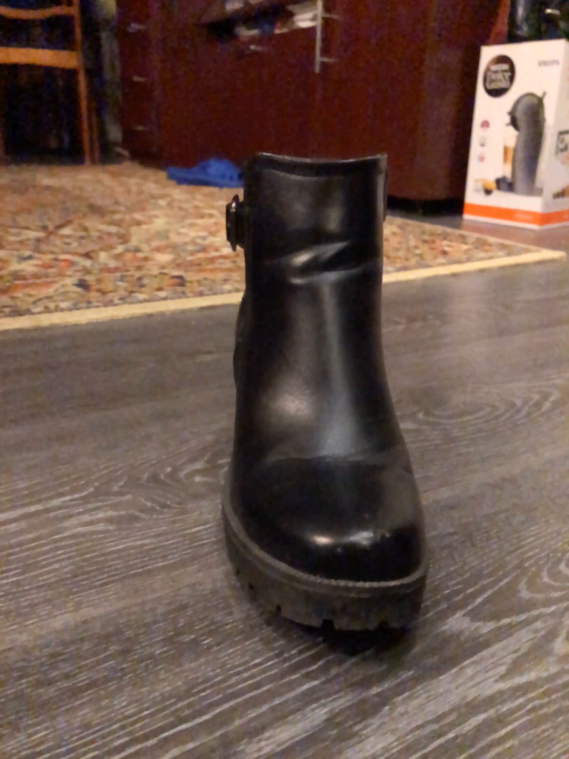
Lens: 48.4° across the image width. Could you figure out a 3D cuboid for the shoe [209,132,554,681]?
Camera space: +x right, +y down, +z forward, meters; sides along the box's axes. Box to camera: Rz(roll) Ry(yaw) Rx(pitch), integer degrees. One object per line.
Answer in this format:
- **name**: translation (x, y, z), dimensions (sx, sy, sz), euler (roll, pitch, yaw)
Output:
- **shoe**: translation (0.011, -0.022, 0.309), dimensions (0.090, 0.179, 0.241), euler (-1, 22, -7)
